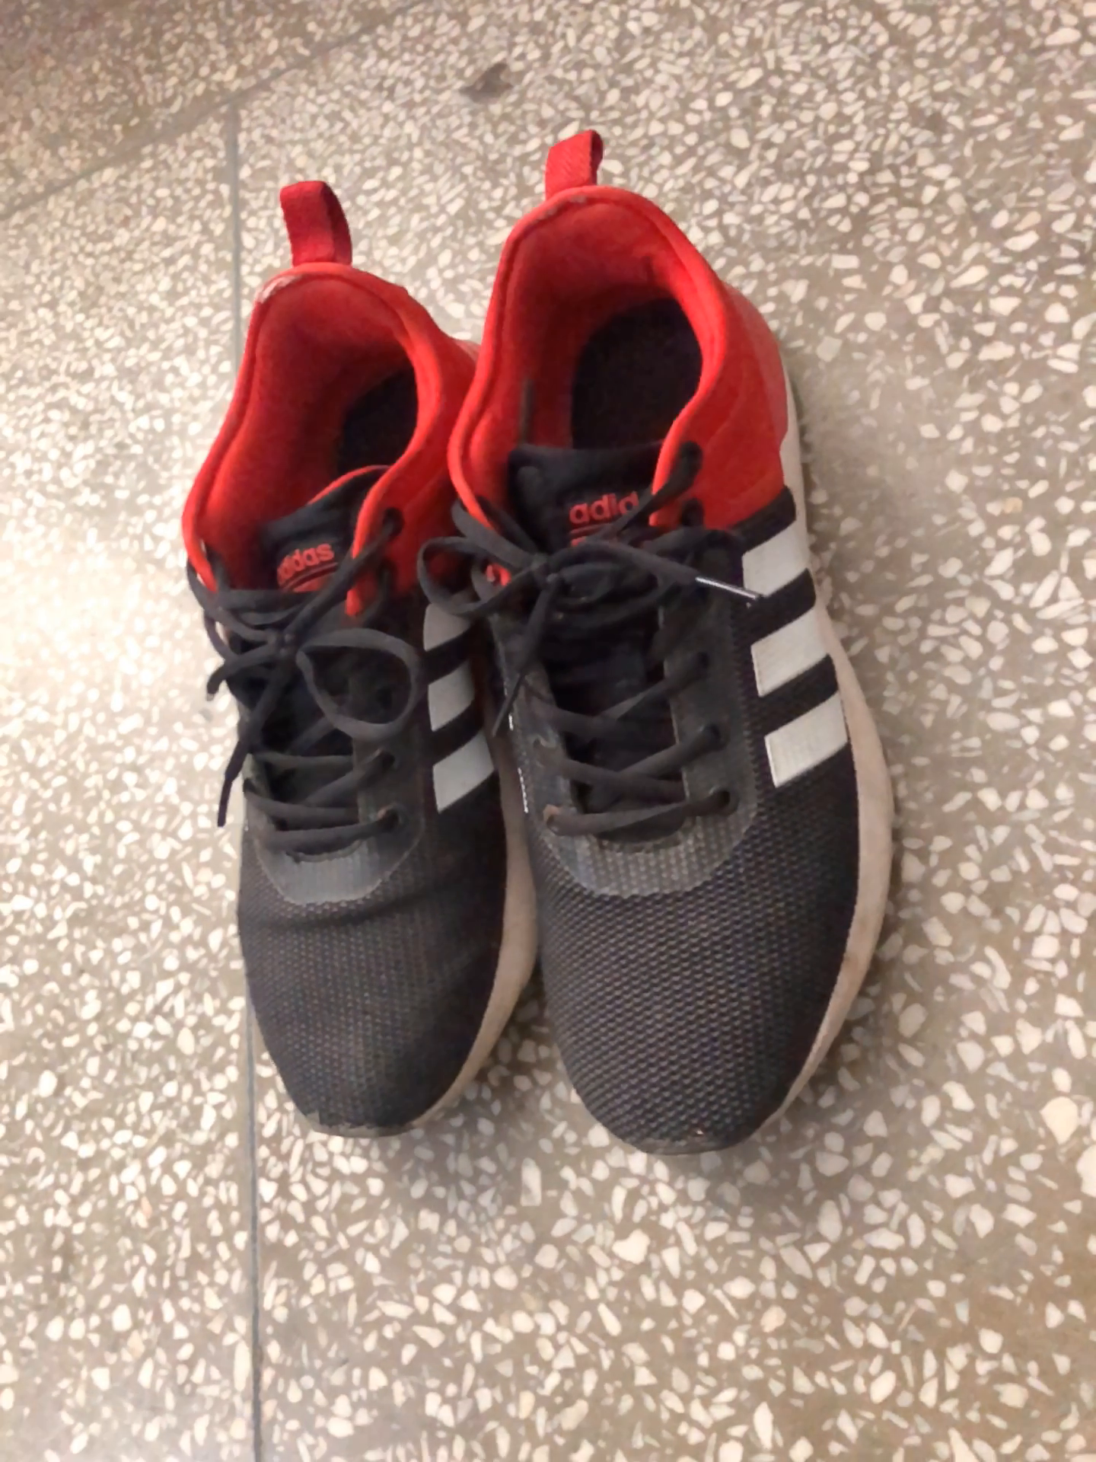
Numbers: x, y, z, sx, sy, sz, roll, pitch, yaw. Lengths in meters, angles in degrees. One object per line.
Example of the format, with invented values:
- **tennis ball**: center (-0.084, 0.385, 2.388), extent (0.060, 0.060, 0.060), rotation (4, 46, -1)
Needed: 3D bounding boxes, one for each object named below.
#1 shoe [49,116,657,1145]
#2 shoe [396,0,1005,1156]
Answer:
- **shoe**: center (-0.047, -0.022, 0.427), extent (0.130, 0.140, 0.310), rotation (-7, 69, 24)
- **shoe**: center (0.053, -0.036, 0.388), extent (0.130, 0.140, 0.320), rotation (-8, 69, 23)
